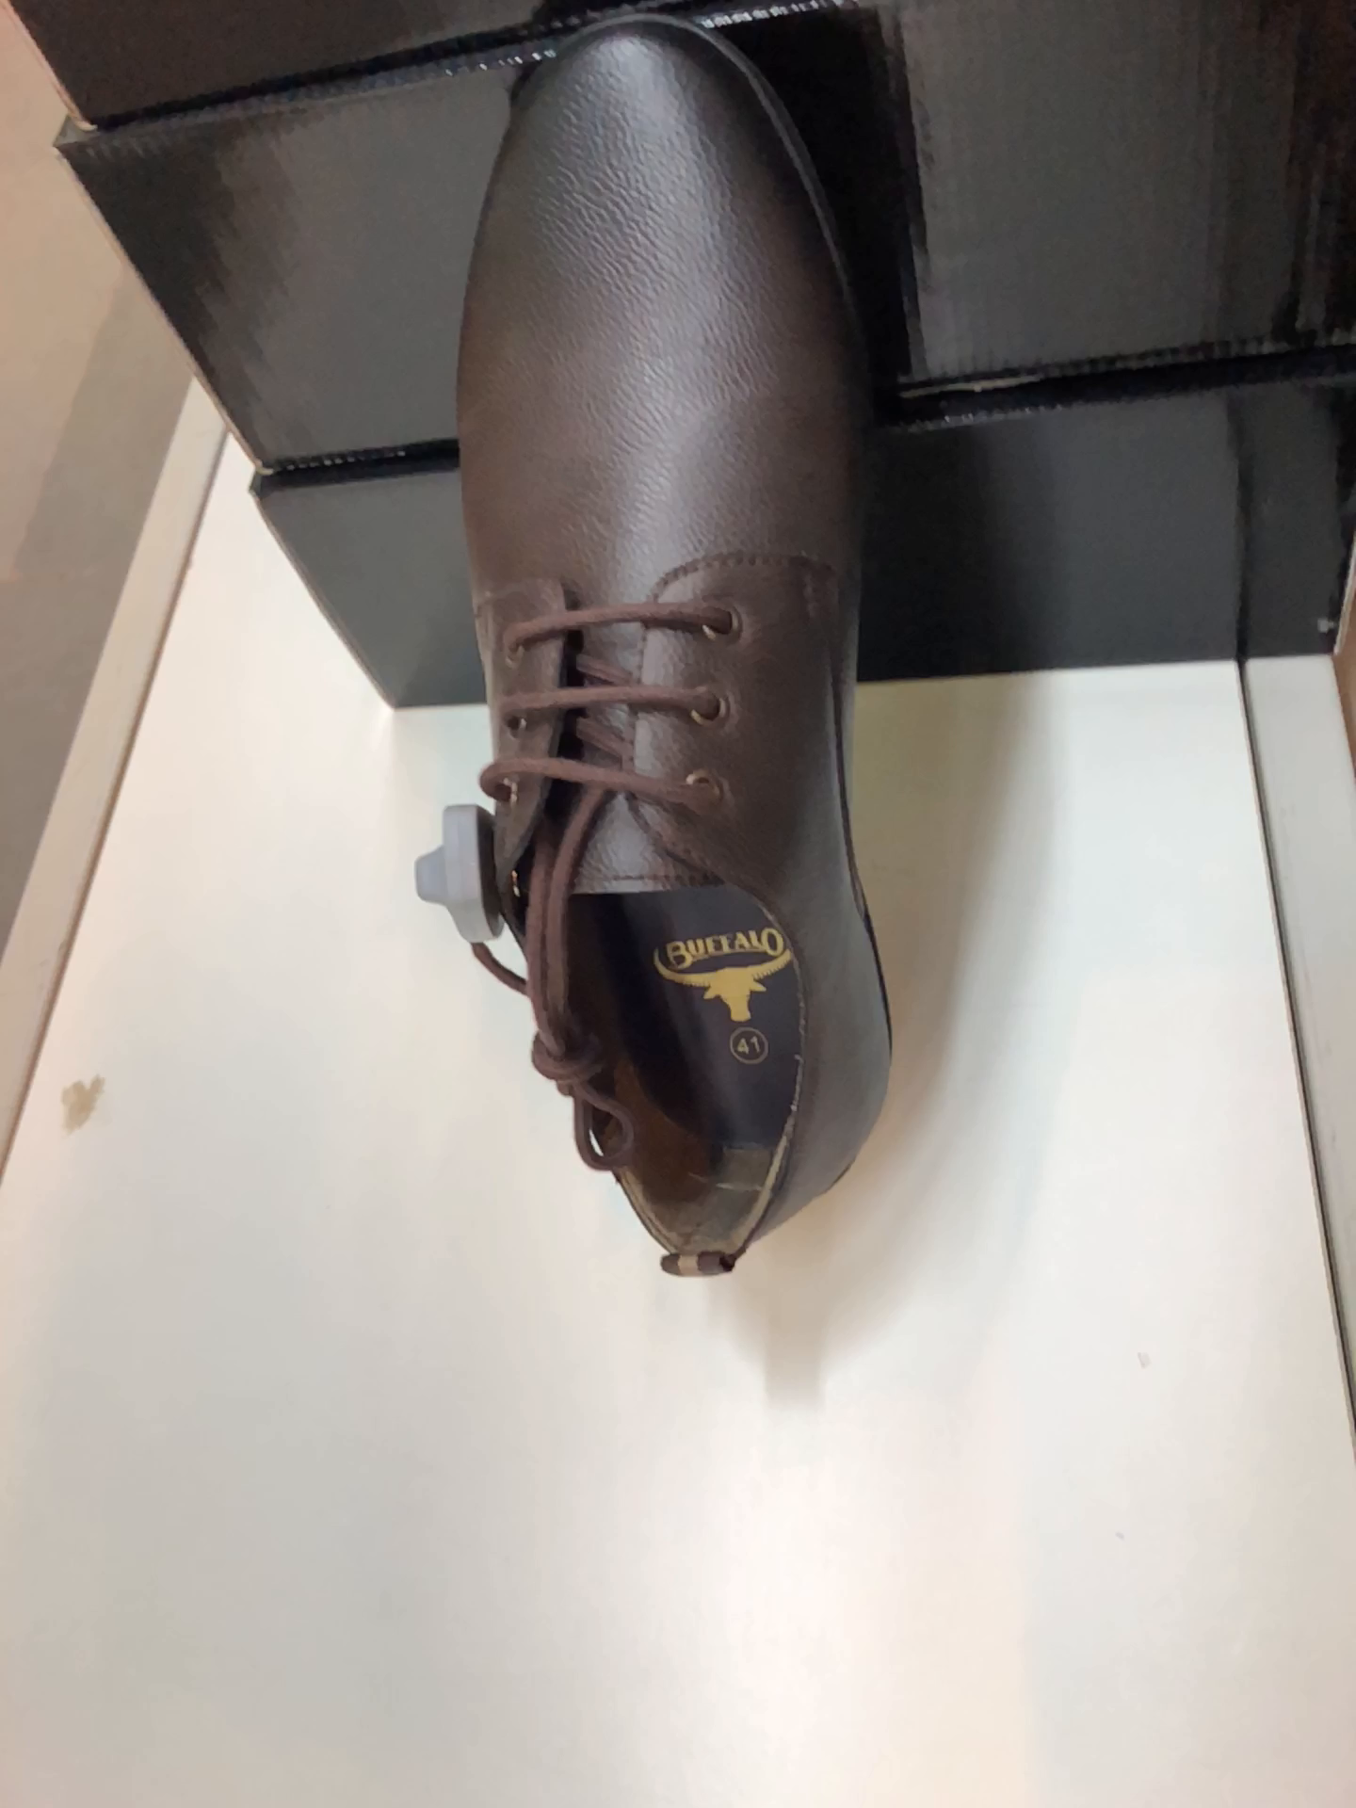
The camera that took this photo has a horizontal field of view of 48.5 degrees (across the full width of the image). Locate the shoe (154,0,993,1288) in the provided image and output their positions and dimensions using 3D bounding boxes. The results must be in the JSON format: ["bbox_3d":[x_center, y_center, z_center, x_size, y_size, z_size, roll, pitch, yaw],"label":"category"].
[{"bbox_3d":[-0.005,-0.067,0.341,0.111,0.271,0.116,-2,17,21],"label":"shoe"}]
